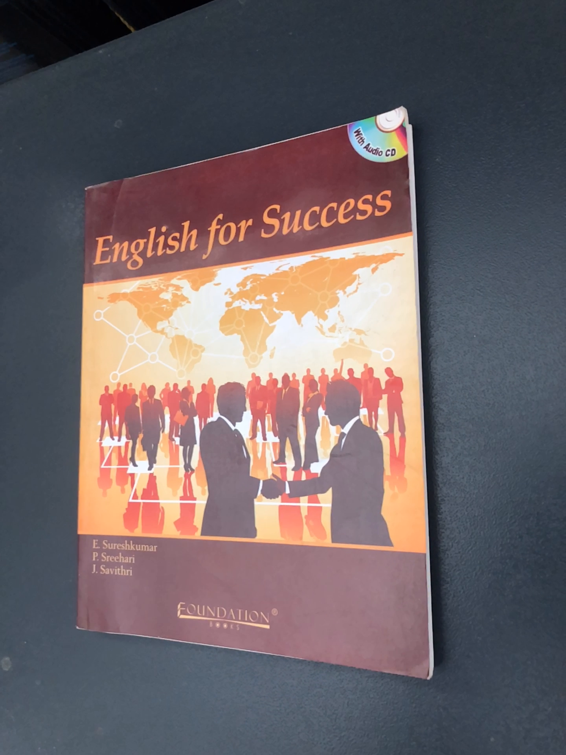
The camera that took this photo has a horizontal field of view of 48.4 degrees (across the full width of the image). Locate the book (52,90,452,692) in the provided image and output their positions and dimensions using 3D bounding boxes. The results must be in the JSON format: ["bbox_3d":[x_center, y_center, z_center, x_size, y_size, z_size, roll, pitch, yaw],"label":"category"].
[{"bbox_3d":[-0.025,0.006,0.303,0.190,0.030,0.240,-4,82,25],"label":"book"}]
